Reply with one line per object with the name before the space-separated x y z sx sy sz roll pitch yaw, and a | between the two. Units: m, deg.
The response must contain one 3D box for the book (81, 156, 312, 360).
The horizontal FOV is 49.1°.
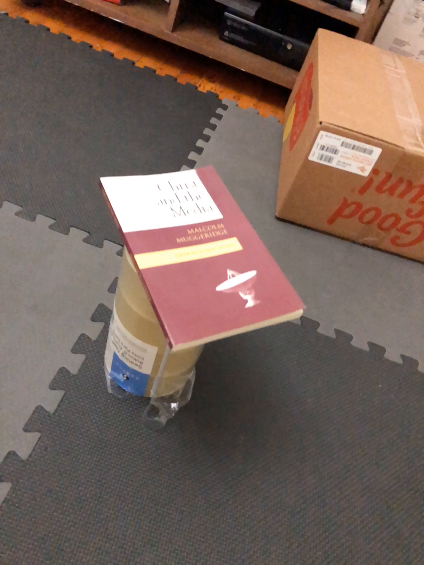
book | -0.021 -0.040 0.429 0.140 0.020 0.211 -12 55 -27
